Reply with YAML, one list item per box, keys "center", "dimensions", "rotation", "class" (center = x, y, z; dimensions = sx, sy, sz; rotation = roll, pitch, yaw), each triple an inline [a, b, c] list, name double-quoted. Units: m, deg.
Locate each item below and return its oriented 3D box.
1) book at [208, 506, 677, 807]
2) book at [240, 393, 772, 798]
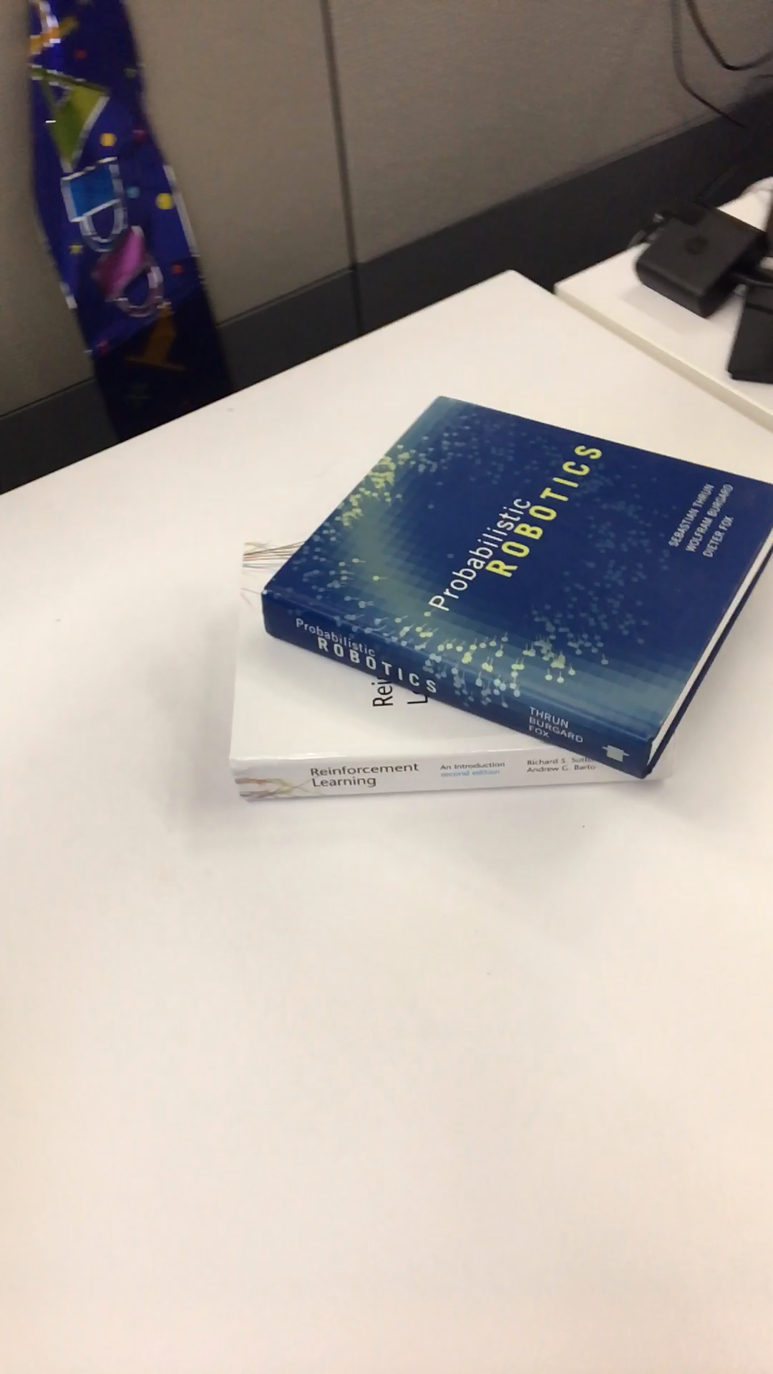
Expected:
- center: [0.027, -0.024, 0.660]
  dimensions: [0.240, 0.030, 0.190]
  rotation: [-3, 49, 3]
  class: "book"
- center: [0.077, -0.068, 0.649]
  dimensions: [0.240, 0.030, 0.210]
  rotation: [22, 55, 22]
  class: "book"
